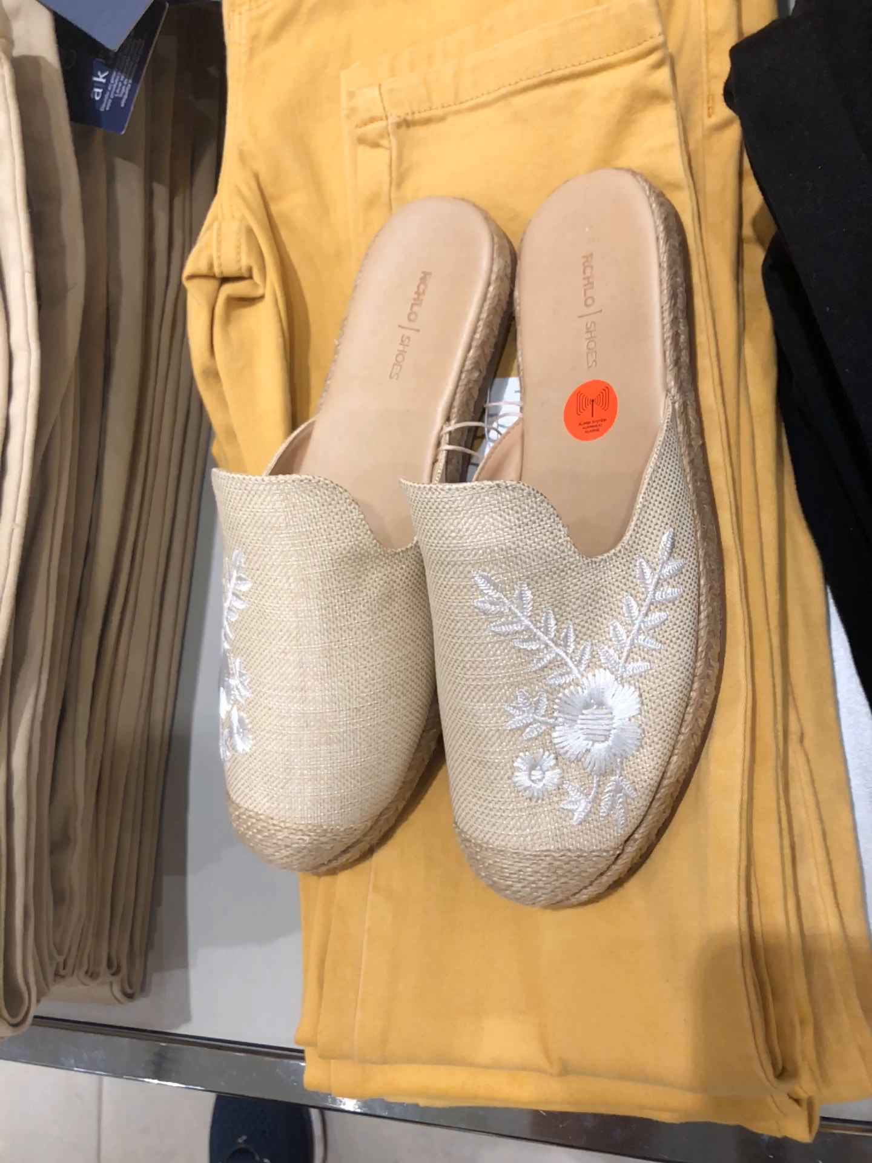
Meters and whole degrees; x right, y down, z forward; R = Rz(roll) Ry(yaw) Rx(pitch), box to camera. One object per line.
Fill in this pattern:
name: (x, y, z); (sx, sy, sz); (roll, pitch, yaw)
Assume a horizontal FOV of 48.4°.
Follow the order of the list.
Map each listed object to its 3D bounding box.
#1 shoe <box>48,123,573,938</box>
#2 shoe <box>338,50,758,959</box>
shoe: (-0.037, -0.020, 0.325); (0.090, 0.070, 0.240); (12, 84, 28)
shoe: (0.041, -0.023, 0.299); (0.090, 0.070, 0.240); (1, 79, 27)
